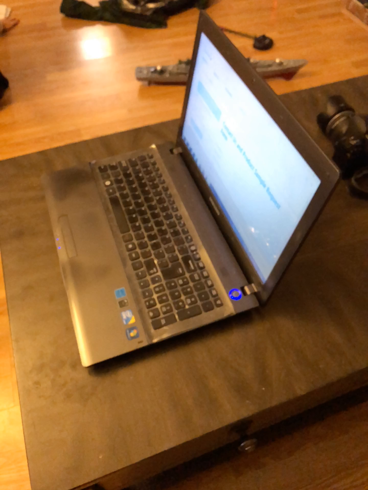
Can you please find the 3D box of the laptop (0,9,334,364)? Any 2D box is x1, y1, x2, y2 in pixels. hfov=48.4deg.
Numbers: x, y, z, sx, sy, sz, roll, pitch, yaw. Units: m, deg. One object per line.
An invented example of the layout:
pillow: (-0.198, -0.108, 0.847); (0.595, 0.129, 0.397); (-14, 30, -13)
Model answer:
laptop: (-0.054, -0.101, 0.574); (0.308, 0.231, 0.369); (-17, 56, -12)
